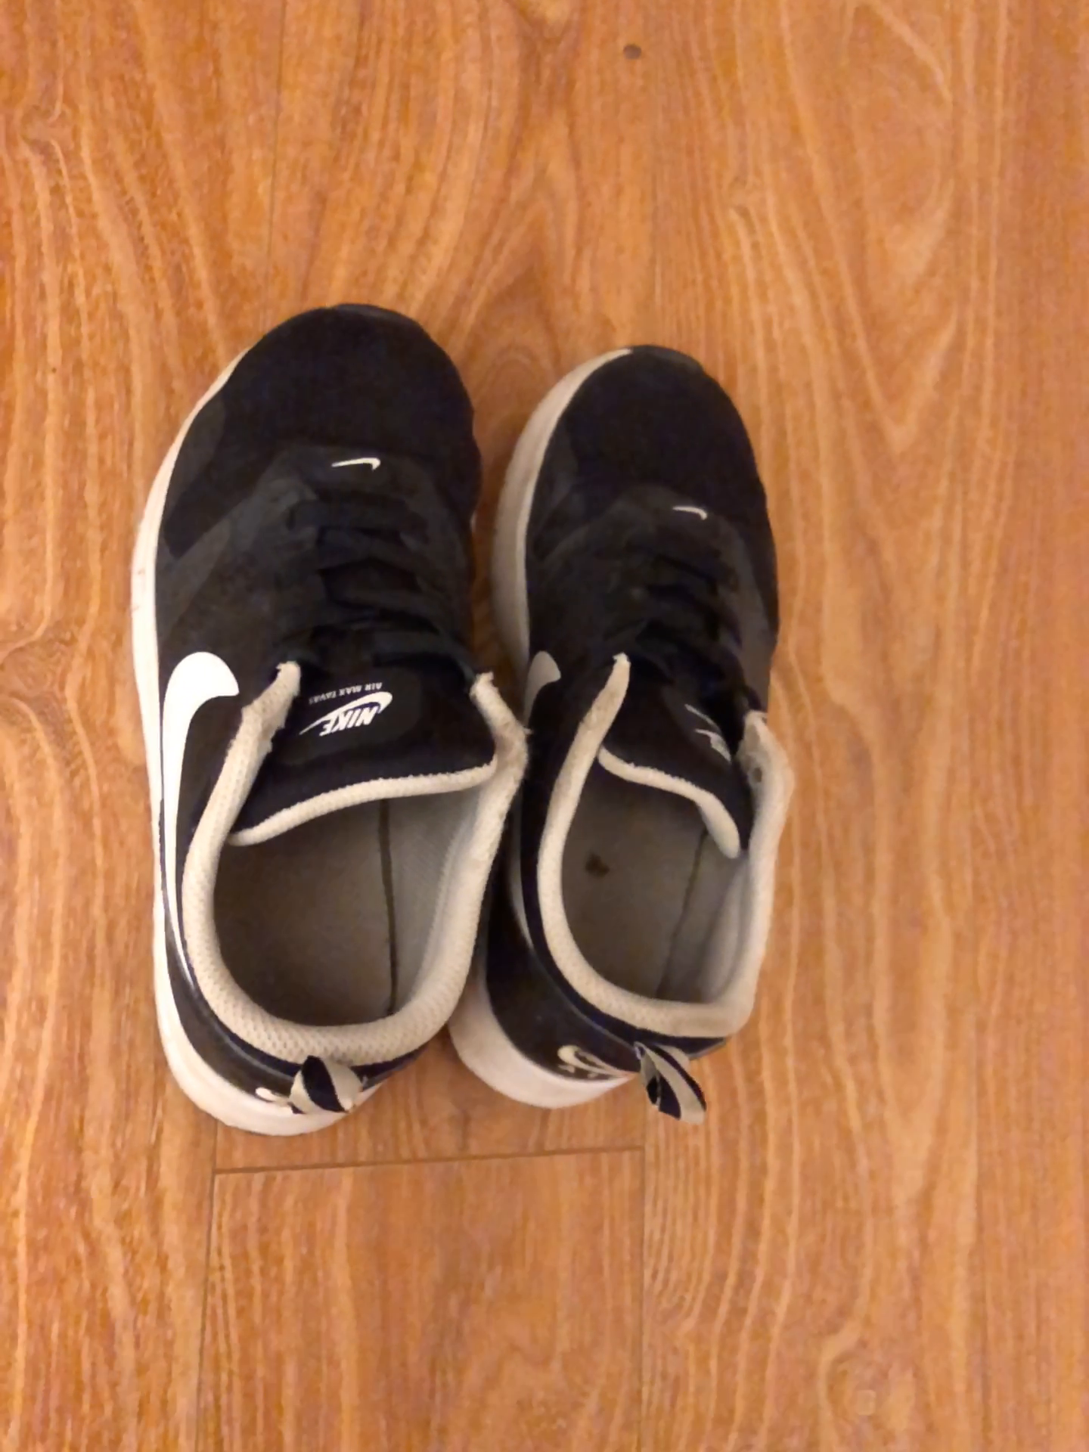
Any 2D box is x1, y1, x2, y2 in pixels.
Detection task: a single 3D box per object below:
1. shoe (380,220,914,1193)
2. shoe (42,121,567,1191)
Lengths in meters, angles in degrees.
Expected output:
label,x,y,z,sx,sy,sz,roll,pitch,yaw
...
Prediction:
label,x,y,z,sx,sy,sz,roll,pitch,yaw
shoe,0.029,-0.003,0.338,0.090,0.080,0.230,13,79,-20
shoe,-0.061,-0.012,0.306,0.090,0.080,0.230,9,80,-21
